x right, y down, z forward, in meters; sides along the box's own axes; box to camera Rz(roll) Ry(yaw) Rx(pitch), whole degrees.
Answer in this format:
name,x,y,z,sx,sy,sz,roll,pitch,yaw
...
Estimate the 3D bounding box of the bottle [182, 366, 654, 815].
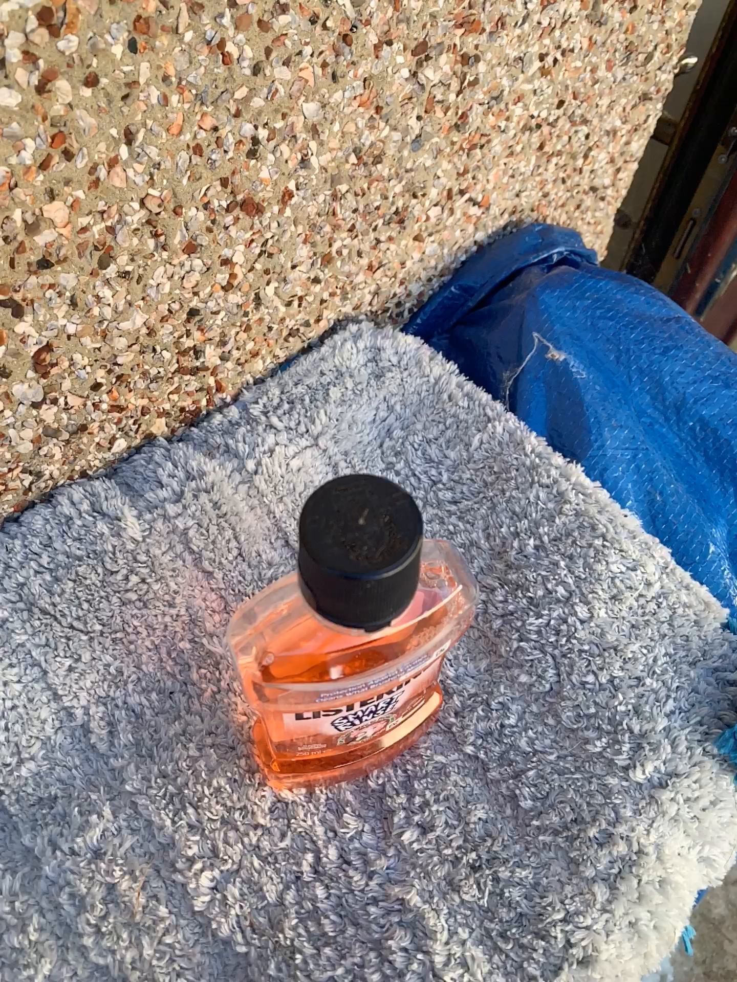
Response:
name,x,y,z,sx,sy,sz,roll,pitch,yaw
bottle,0.008,0.044,0.233,0.090,0.159,0.050,-19,62,-13
